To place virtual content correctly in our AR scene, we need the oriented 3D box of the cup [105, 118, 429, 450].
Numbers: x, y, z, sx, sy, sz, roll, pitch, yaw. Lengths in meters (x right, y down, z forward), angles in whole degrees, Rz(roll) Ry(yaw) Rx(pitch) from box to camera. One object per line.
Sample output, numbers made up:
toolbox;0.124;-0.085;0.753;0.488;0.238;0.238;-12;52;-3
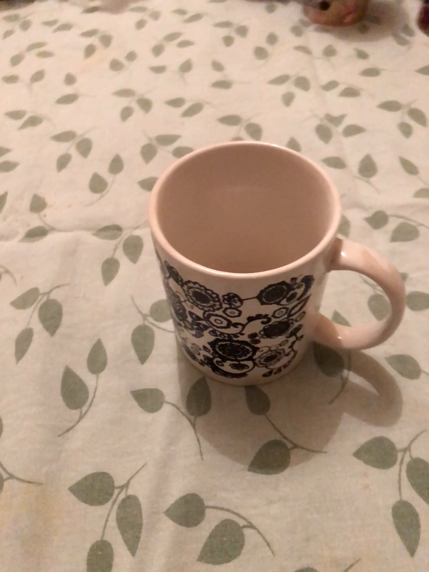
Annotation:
cup;0.032;0.000;0.225;0.120;0.099;0.080;18;57;15
